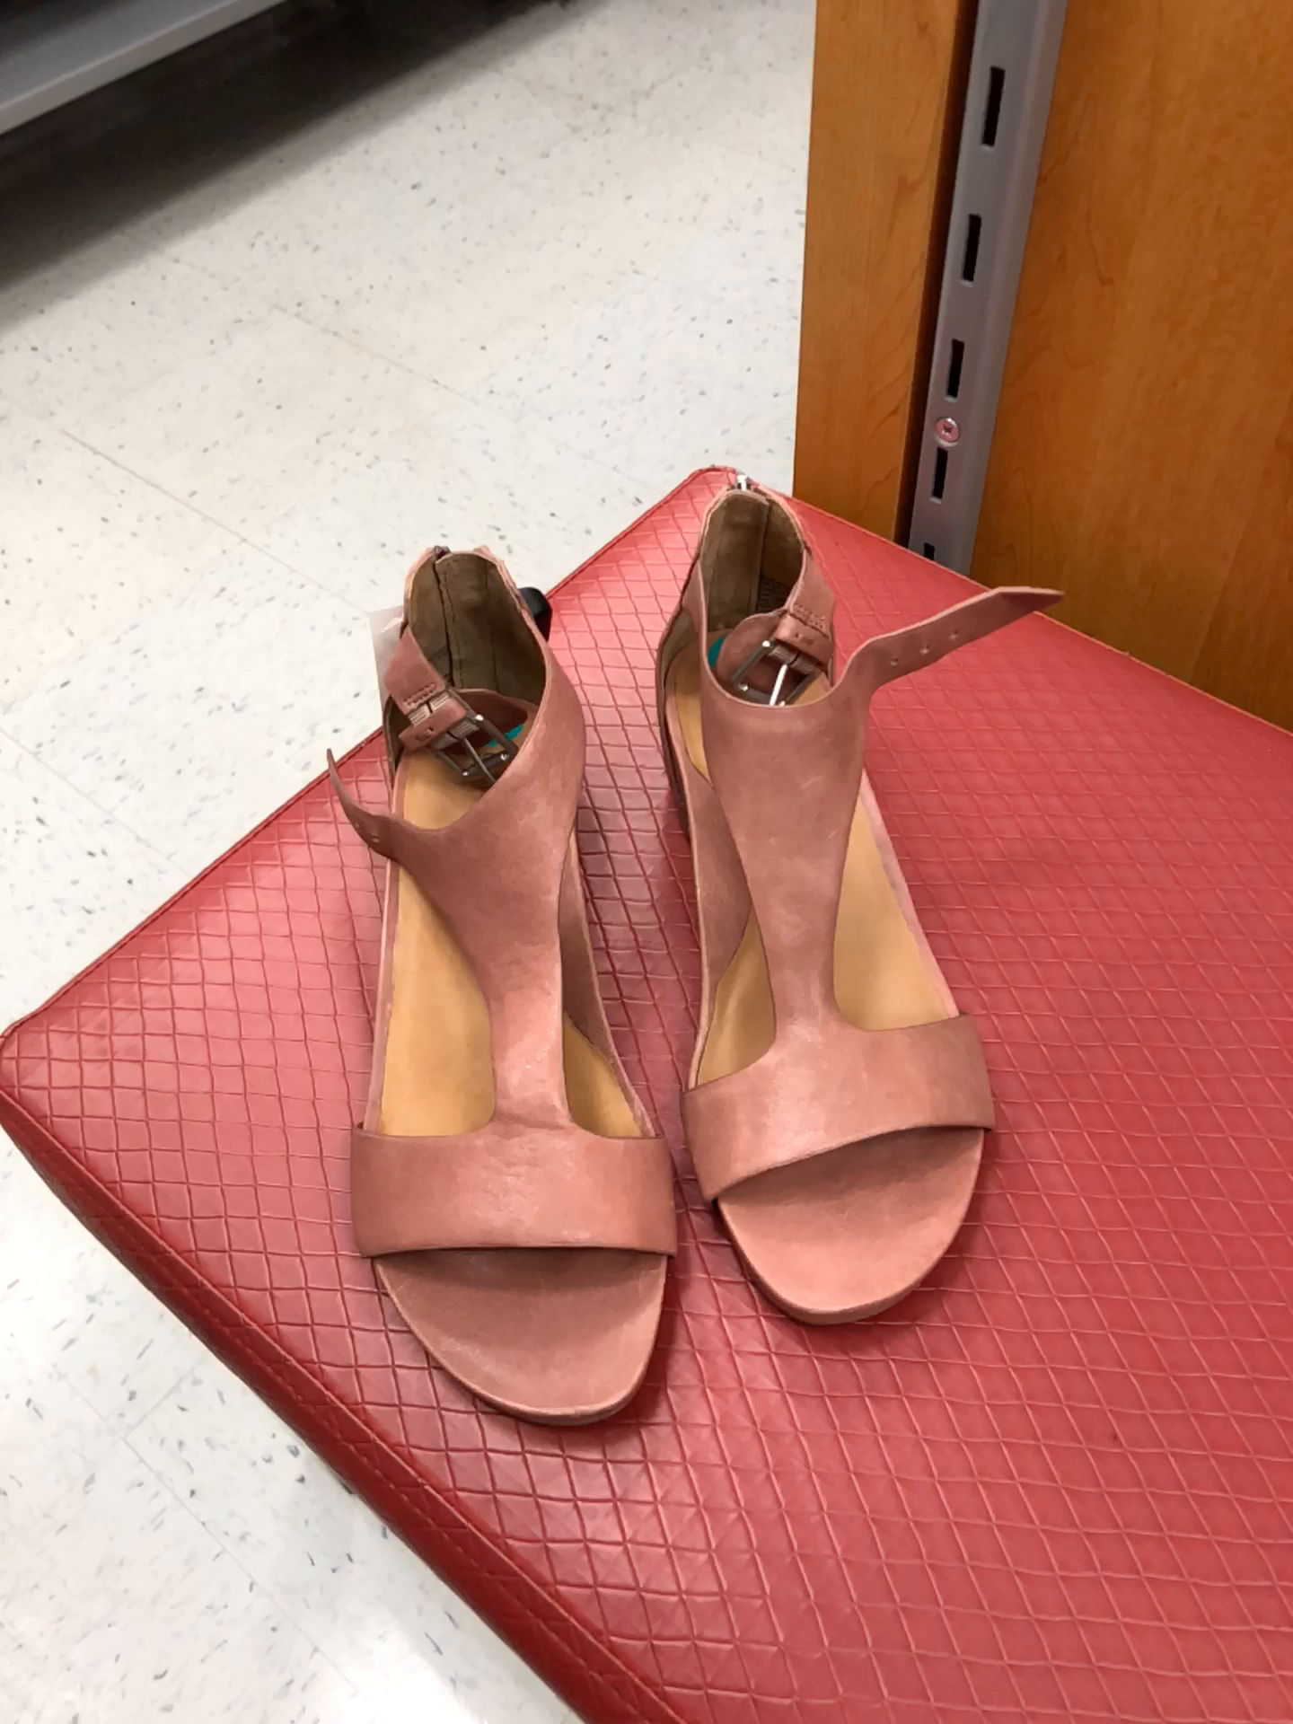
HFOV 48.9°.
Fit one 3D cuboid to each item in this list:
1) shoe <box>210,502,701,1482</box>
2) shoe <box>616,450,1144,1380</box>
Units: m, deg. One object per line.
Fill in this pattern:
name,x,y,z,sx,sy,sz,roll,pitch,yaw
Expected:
shoe,-0.046,0.029,0.433,0.103,0.126,0.264,-4,53,0
shoe,0.053,0.006,0.440,0.105,0.116,0.261,-4,53,0
